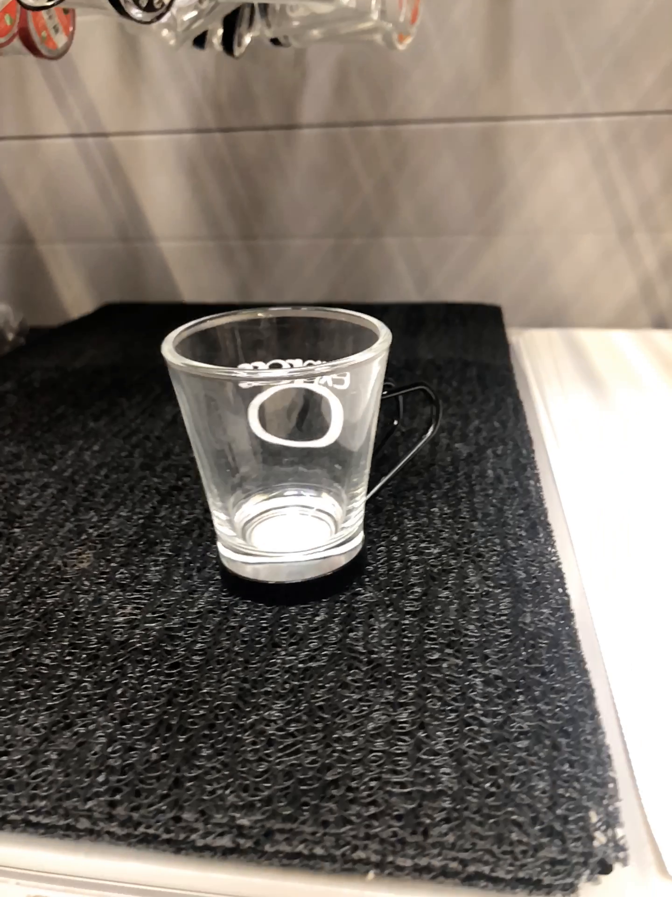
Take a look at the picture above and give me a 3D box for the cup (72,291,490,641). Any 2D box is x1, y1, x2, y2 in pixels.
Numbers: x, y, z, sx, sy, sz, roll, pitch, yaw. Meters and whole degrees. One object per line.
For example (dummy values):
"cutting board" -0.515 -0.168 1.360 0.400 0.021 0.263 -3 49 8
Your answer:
"cup" -0.013 -0.005 0.214 0.087 0.059 0.073 -21 27 -37
